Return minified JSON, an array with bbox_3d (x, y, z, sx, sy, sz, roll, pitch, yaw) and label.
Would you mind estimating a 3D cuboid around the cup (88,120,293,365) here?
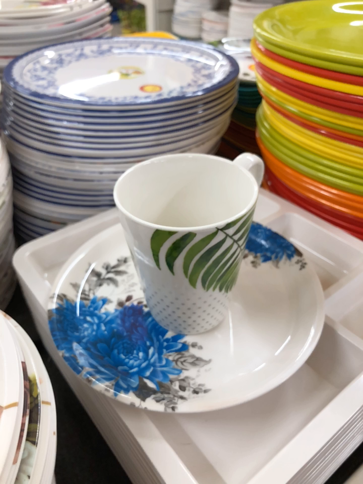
[{"bbox_3d":[0.013,-0.008,0.267,0.080,0.089,0.121,15,41,18],"label":"cup"}]
